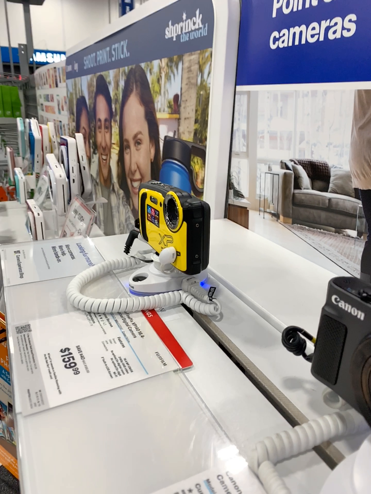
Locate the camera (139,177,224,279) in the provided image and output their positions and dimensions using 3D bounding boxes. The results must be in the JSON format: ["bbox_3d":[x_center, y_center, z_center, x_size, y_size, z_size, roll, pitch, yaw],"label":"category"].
[{"bbox_3d":[-0.009,-0.023,0.346,0.030,0.060,0.110,-8,22,-25],"label":"camera"}]
